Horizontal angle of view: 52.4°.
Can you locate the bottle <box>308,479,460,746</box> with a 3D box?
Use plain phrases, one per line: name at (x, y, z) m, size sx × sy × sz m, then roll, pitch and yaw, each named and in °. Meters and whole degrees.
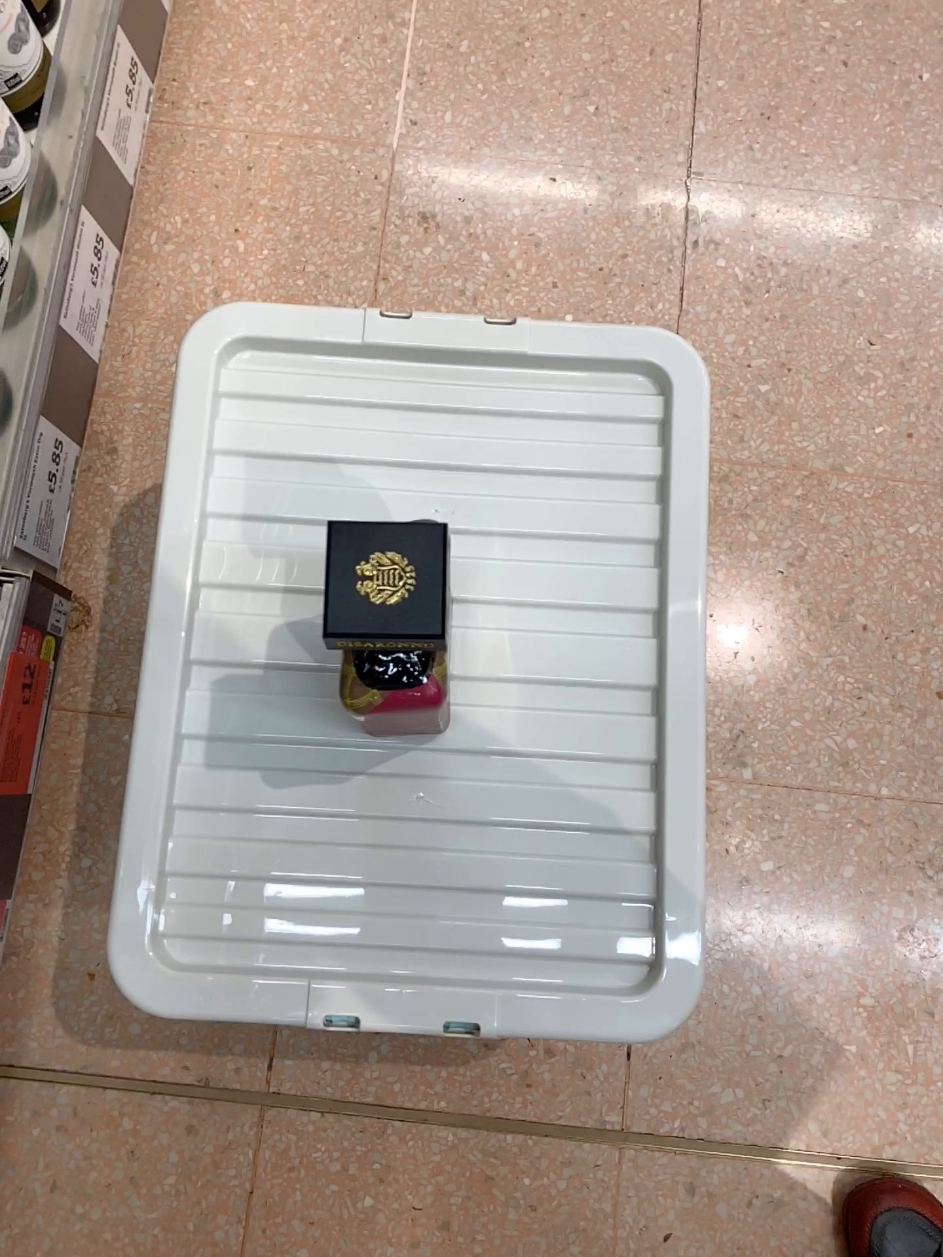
bottle at (-0.037, 0.004, 0.502) m, size 0.060 × 0.200 × 0.100 m, roll 2°, pitch 79°, yaw -1°
